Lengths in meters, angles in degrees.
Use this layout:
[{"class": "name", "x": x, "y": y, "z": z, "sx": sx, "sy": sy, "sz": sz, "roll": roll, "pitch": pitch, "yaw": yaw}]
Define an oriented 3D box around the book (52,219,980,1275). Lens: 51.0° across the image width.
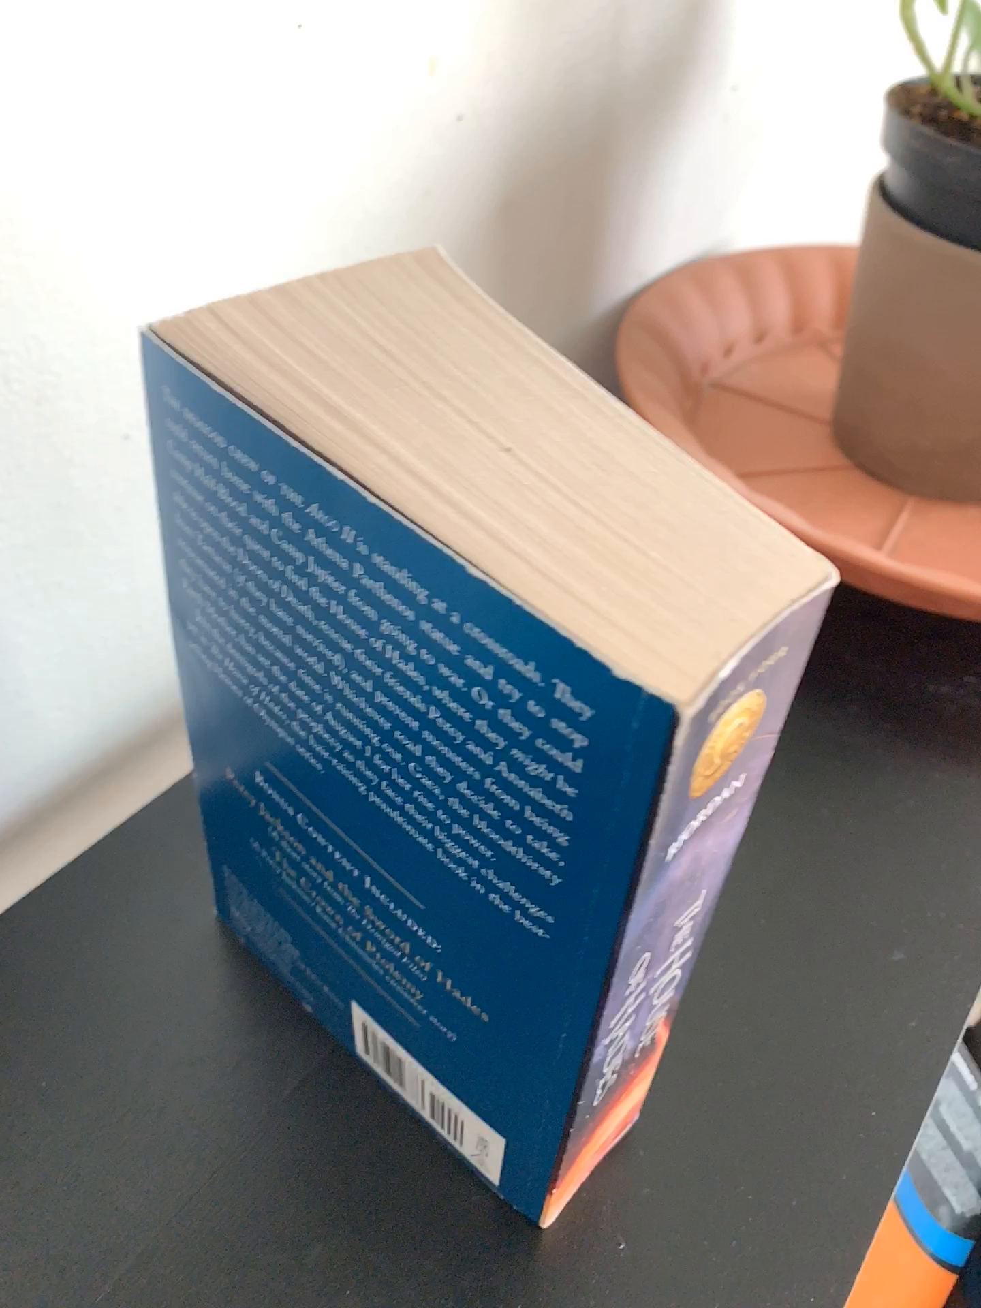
[{"class": "book", "x": -0.004, "y": 0.021, "z": 0.231, "sx": 0.145, "sy": 0.176, "sz": 0.078, "roll": 33, "pitch": 50, "yaw": 29}]
